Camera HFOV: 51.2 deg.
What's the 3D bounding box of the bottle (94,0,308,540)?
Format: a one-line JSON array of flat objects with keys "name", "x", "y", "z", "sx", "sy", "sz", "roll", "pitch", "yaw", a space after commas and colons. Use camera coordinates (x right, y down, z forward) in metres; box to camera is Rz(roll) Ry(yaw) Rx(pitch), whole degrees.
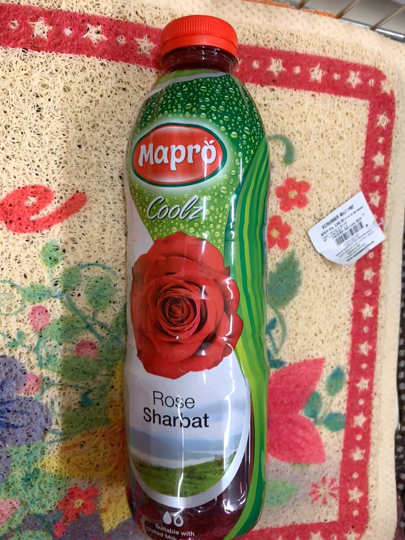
[{"name": "bottle", "x": 0.003, "y": -0.004, "z": 0.207, "sx": 0.080, "sy": 0.080, "sz": 0.250, "roll": 2, "pitch": 95, "yaw": 9}]
